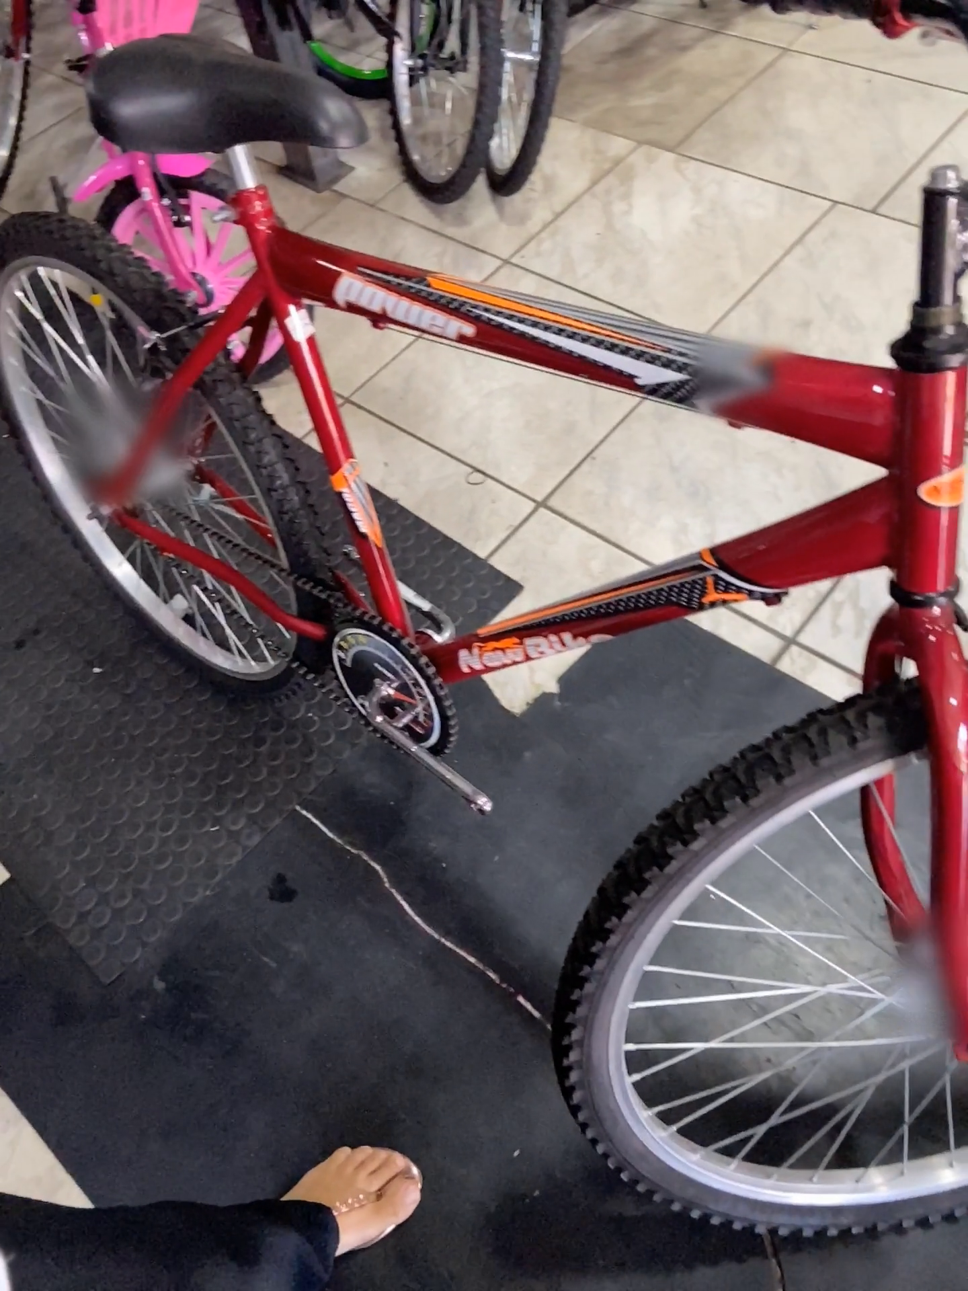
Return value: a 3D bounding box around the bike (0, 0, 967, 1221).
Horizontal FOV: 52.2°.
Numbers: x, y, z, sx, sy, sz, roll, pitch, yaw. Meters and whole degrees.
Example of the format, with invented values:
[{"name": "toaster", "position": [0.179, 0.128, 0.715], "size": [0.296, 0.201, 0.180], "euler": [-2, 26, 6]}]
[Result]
[{"name": "bike", "position": [-0.023, -0.255, 0.899], "size": [1.584, 1.030, 0.567], "euler": [21, 62, 26]}]
